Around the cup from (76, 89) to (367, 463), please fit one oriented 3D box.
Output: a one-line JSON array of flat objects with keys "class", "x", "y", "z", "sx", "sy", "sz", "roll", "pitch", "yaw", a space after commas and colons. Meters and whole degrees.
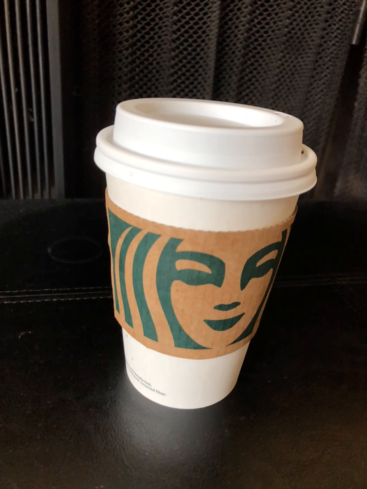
[{"class": "cup", "x": 0.014, "y": 0.002, "z": 0.185, "sx": 0.090, "sy": 0.120, "sz": 0.090, "roll": 5, "pitch": 27, "yaw": -3}]
